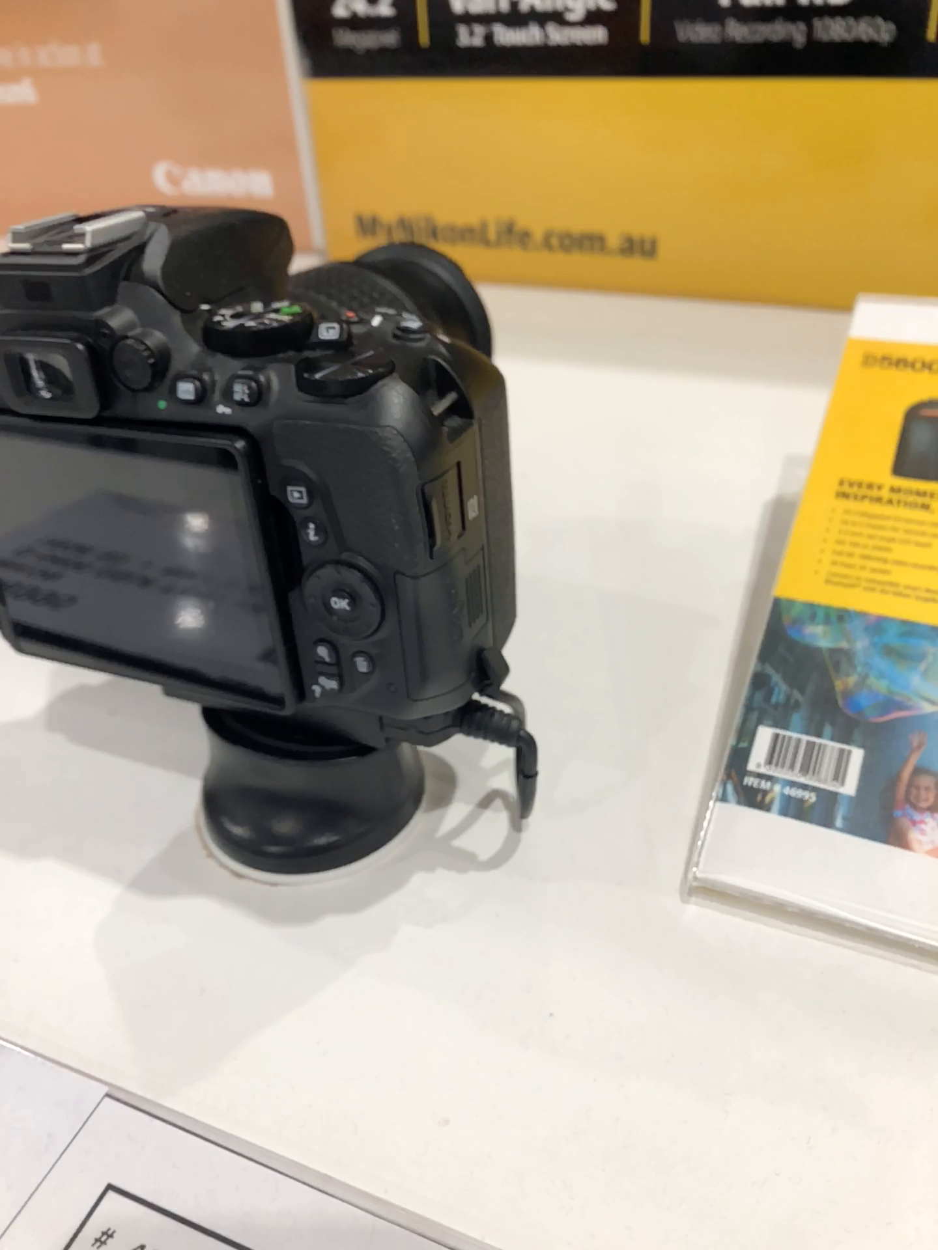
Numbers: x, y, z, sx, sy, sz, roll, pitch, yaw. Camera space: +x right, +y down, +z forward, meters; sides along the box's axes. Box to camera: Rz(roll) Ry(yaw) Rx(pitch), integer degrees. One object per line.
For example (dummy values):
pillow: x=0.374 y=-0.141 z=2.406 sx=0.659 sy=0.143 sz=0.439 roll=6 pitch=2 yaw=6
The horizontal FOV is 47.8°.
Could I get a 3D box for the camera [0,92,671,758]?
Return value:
camera: x=-0.035 y=-0.069 z=0.269 sx=0.127 sy=0.096 sz=0.163 roll=11 pitch=37 yaw=22
